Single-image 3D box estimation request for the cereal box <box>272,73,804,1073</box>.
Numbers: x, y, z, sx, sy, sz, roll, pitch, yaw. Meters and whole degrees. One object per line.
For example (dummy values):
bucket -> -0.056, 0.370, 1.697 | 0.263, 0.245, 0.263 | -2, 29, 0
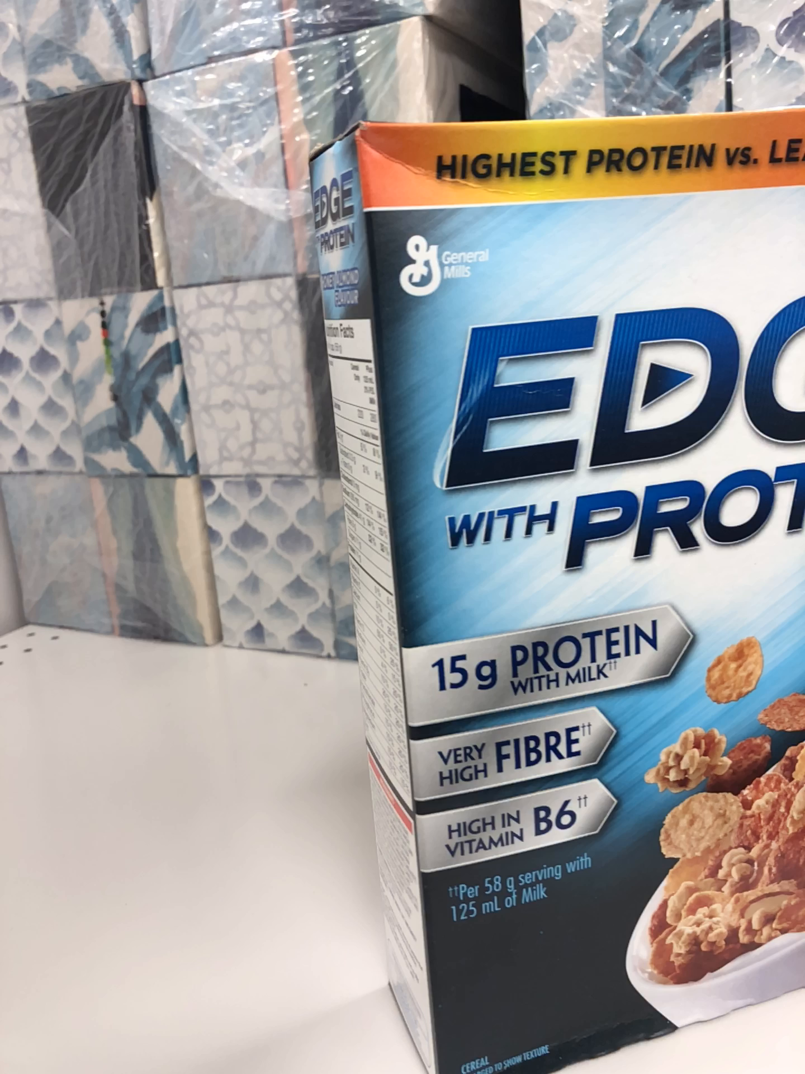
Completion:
cereal box -> 0.081, 0.021, 0.272 | 0.200, 0.279, 0.050 | -9, 15, -16
